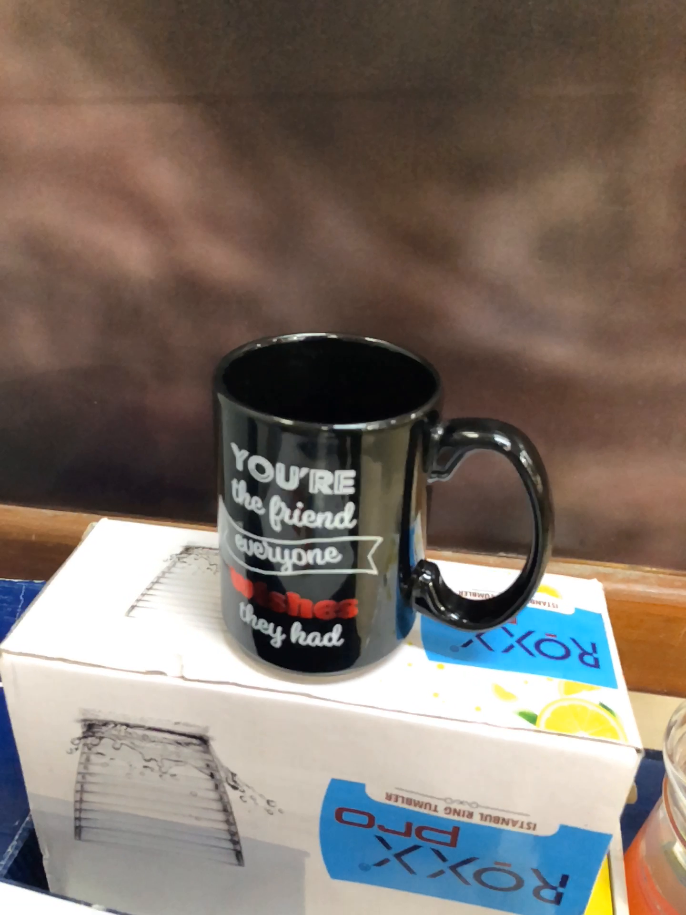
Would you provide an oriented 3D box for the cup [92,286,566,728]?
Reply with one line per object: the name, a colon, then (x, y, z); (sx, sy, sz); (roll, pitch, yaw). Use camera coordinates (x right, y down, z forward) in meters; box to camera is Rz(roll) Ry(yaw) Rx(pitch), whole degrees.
cup: (0.003, 0.009, 0.264); (0.130, 0.109, 0.091); (6, 28, 12)
